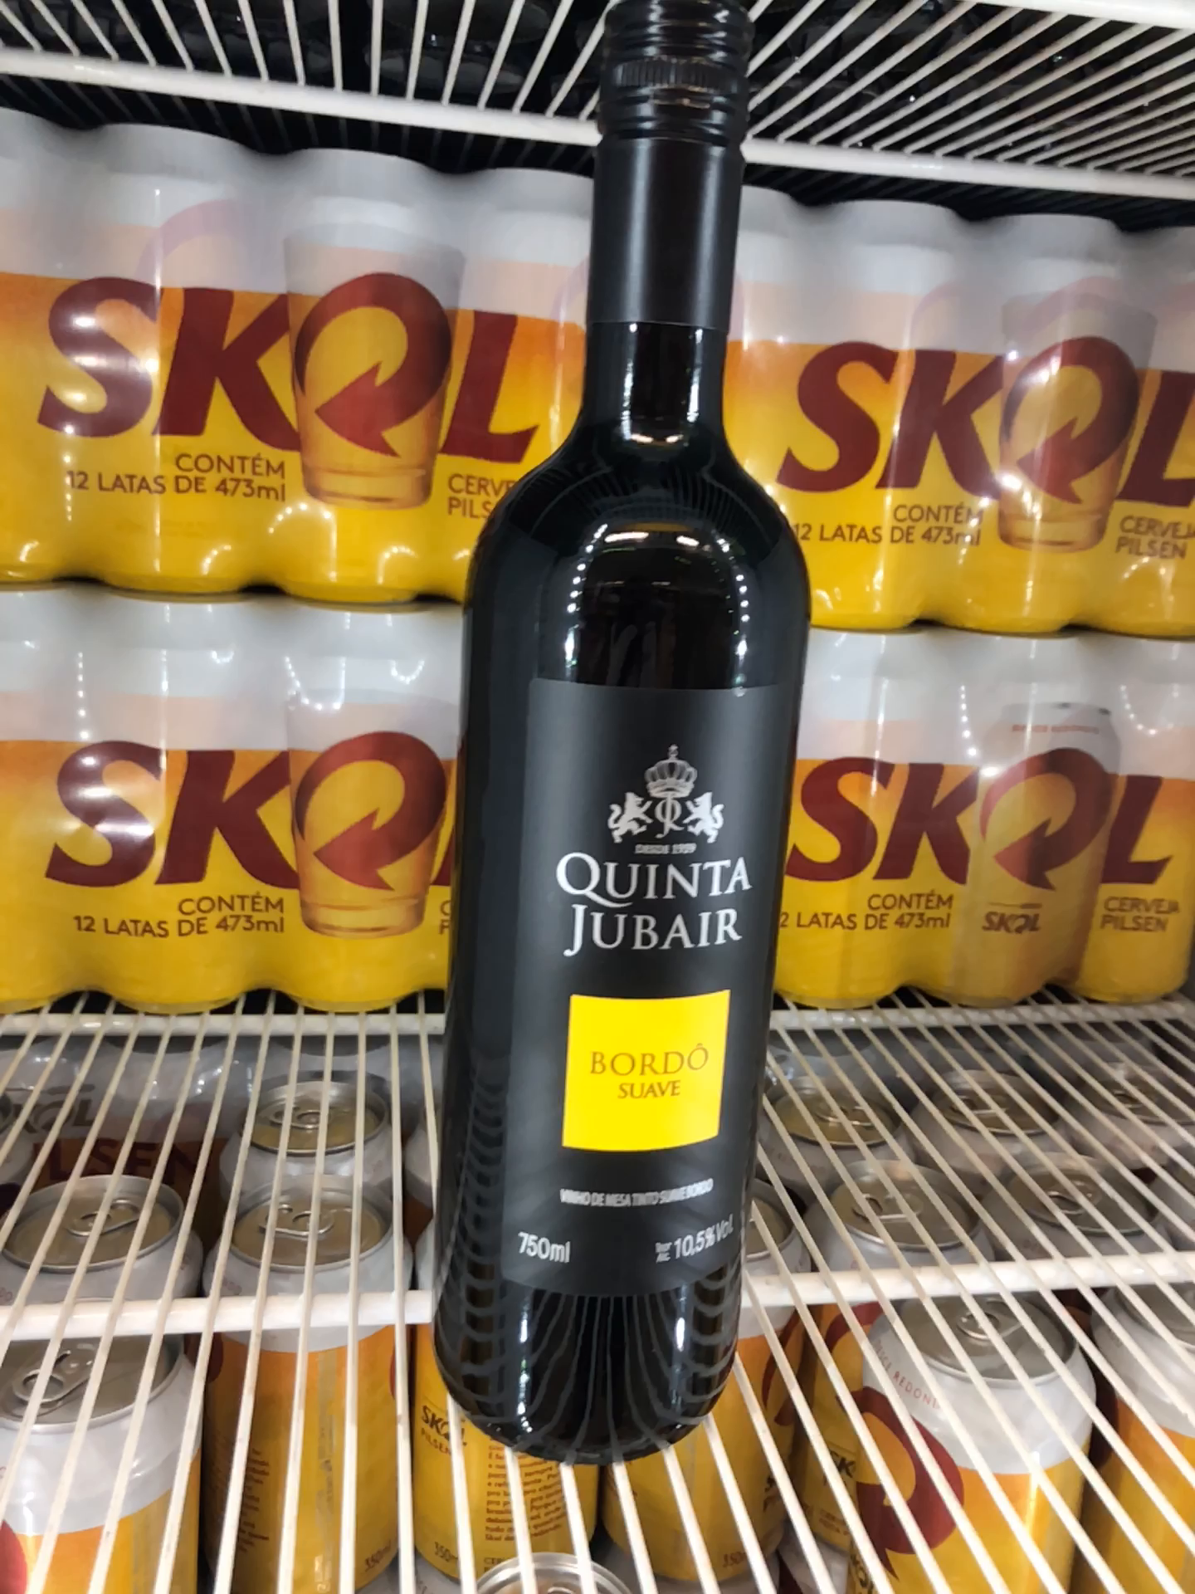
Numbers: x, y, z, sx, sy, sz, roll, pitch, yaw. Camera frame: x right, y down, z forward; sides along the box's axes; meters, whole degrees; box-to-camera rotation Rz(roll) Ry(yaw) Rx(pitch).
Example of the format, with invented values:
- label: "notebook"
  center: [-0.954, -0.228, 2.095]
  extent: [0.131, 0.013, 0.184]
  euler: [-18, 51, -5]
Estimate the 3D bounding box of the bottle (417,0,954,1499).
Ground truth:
- label: "bottle"
  center: [0.007, -0.009, 0.276]
  extent: [0.080, 0.289, 0.070]
  euler: [0, 12, -11]
